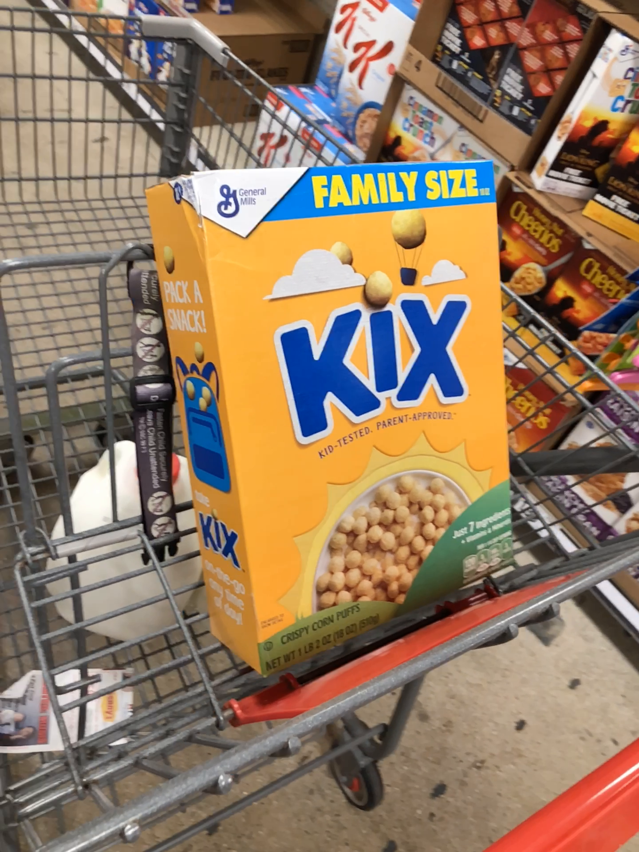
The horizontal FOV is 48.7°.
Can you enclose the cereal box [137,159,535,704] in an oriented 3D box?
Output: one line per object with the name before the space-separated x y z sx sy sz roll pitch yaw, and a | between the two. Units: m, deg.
cereal box | 0.034 -0.013 0.503 0.261 0.320 0.070 -15 16 -31
